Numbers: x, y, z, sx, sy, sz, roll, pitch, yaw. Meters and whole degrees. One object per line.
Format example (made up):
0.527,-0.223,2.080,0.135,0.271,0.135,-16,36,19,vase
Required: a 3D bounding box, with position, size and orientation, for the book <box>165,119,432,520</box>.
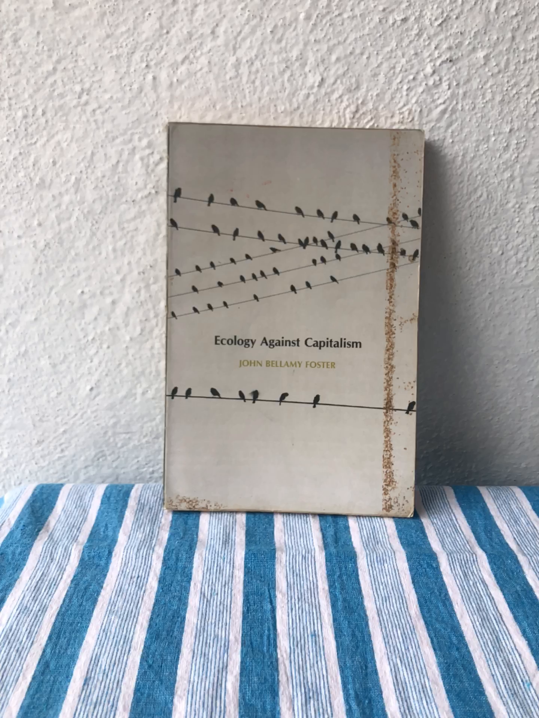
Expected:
0.015,-0.021,0.332,0.140,0.210,0.030,0,0,3,book
